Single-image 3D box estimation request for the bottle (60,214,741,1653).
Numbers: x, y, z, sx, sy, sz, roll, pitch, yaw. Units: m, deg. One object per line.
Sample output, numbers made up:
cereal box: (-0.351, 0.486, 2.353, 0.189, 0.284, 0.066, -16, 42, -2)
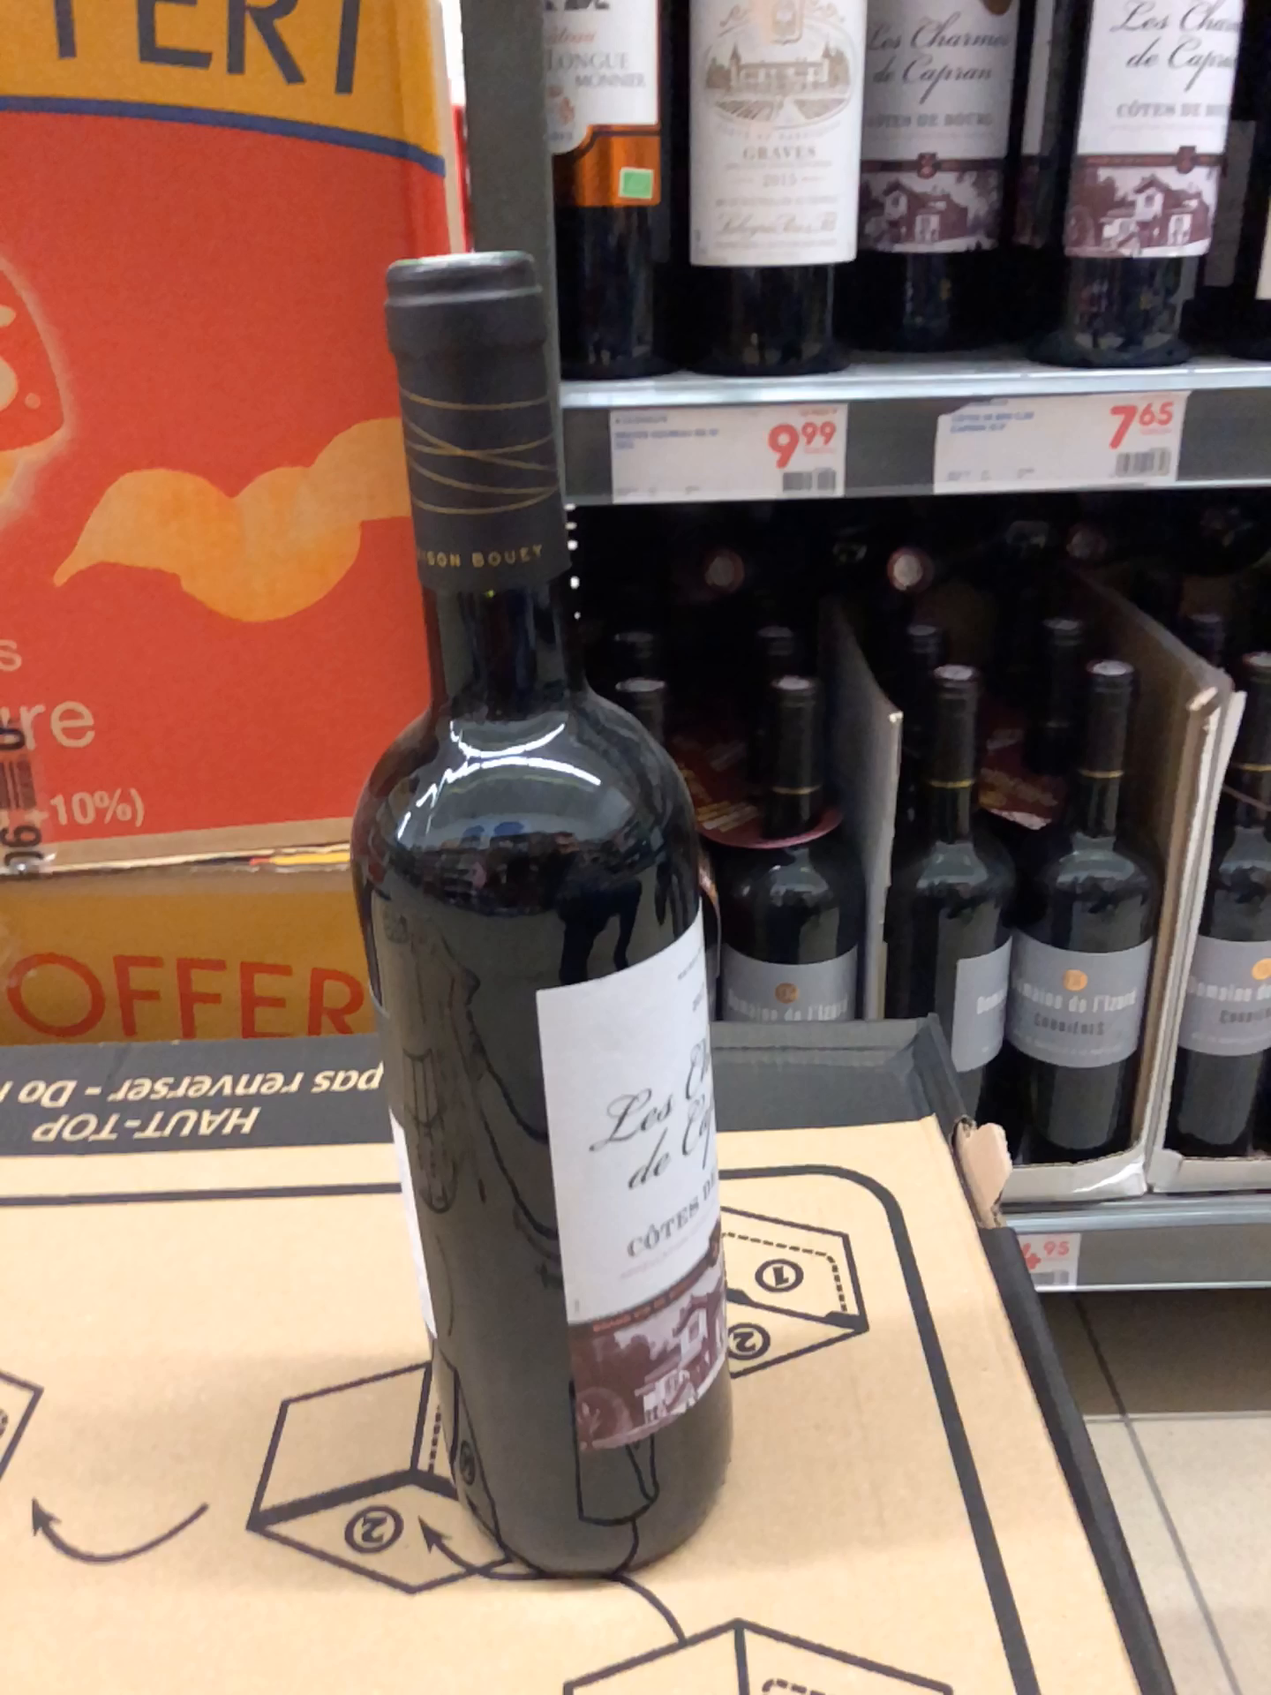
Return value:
bottle: (-0.028, 0.025, 0.298, 0.090, 0.288, 0.091, -1, 25, 1)
